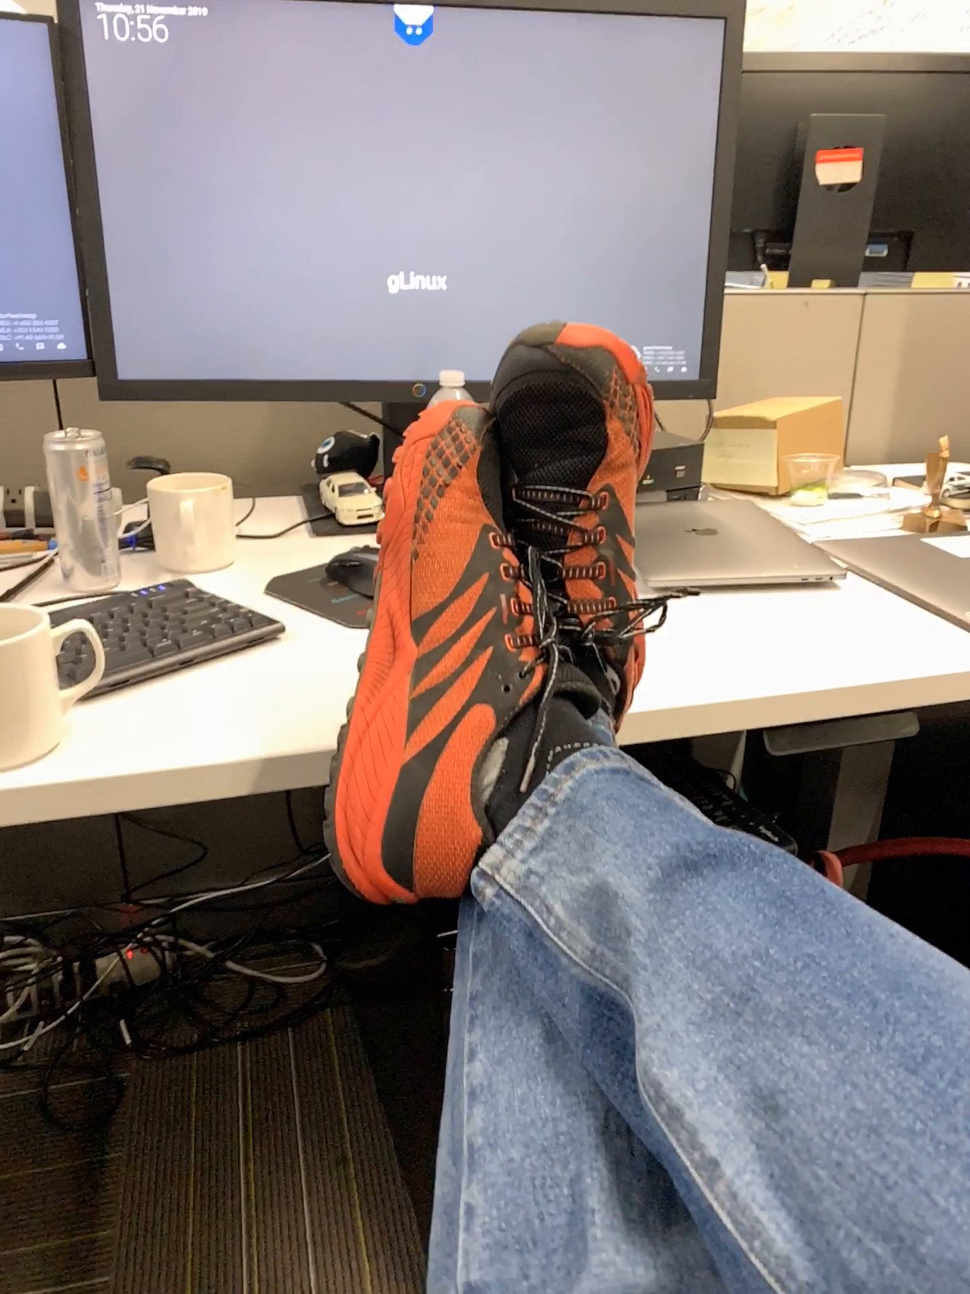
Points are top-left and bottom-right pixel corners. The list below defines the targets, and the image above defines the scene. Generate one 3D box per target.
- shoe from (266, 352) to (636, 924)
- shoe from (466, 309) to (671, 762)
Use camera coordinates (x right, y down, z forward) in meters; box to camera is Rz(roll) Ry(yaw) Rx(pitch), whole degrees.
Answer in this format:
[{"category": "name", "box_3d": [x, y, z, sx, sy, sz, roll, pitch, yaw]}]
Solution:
[{"category": "shoe", "box_3d": [-0.010, -0.008, 0.551, 0.132, 0.289, 0.091, 6, -12, 18]}, {"category": "shoe", "box_3d": [0.059, -0.070, 0.641, 0.107, 0.271, 0.083, 4, 24, 15]}]
